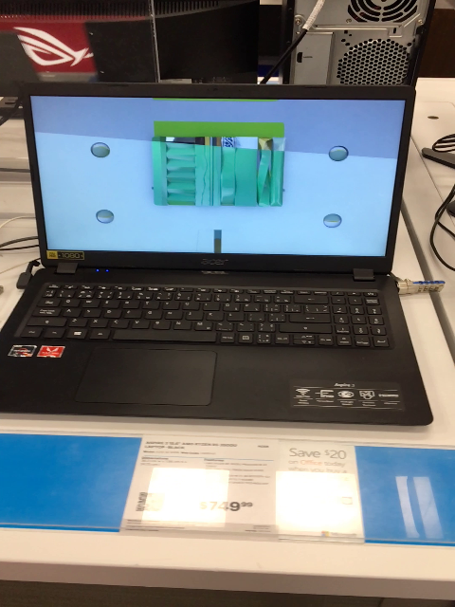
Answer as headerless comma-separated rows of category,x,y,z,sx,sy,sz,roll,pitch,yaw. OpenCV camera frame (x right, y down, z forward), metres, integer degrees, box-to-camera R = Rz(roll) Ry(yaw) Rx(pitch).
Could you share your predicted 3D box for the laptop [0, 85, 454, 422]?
laptop,-0.012,-0.060,0.547,0.389,0.193,0.286,2,40,2
